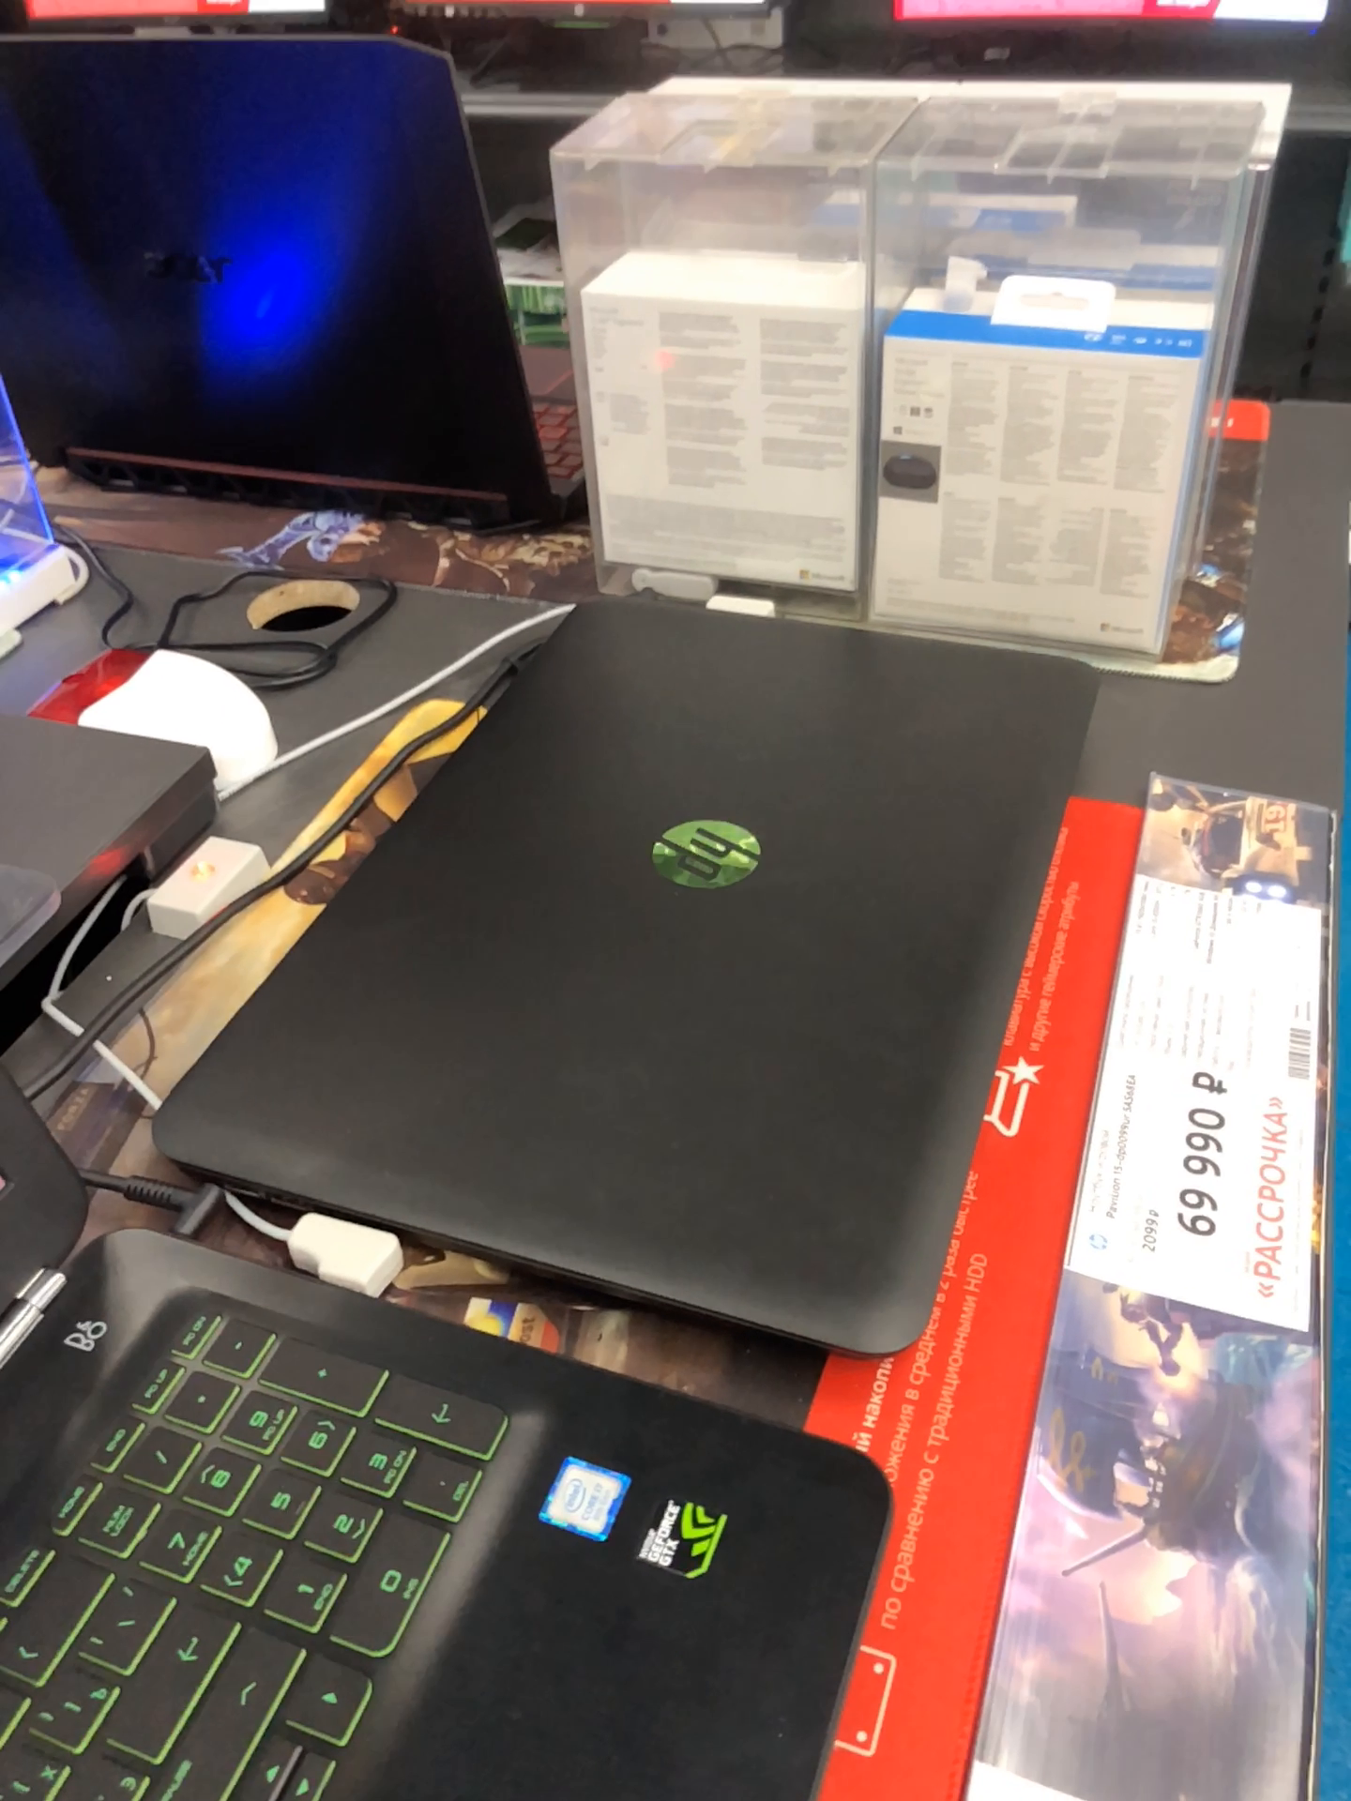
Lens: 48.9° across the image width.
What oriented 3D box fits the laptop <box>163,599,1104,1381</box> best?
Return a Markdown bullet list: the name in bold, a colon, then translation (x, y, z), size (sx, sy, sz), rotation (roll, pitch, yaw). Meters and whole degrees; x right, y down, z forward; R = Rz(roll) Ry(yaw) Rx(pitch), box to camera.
- **laptop**: translation (0.016, -0.009, 0.567), size (0.239, 0.006, 0.373), rotation (12, 42, 16)
